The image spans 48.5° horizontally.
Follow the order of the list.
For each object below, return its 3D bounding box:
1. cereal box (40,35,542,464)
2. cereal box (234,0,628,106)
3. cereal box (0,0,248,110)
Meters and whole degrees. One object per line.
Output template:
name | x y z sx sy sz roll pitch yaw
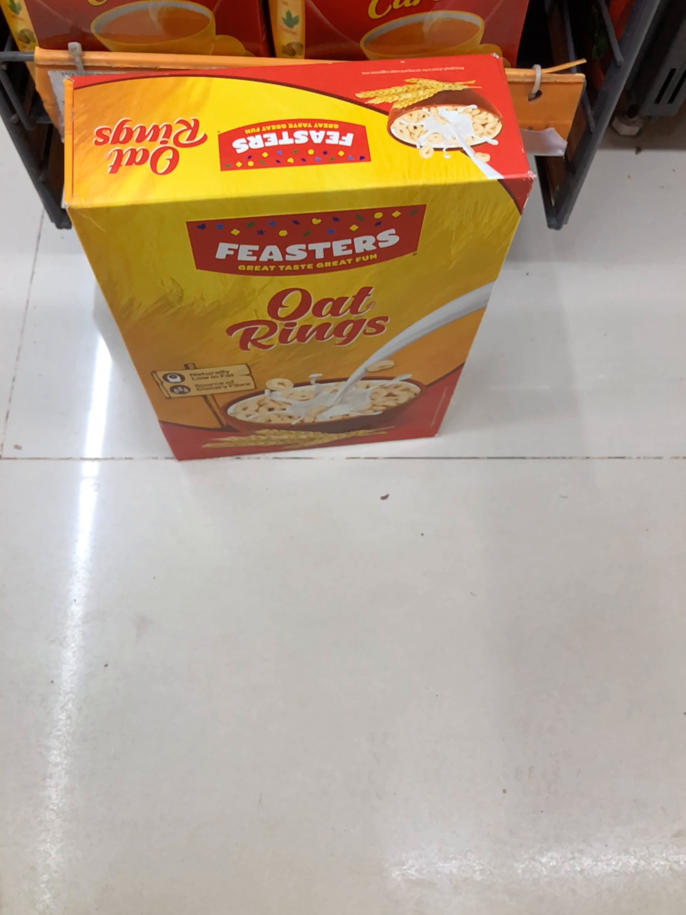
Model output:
cereal box | -0.024 -0.080 0.372 0.170 0.219 0.070 -5 67 -6
cereal box | 0.023 -0.243 0.323 0.120 0.149 0.080 -6 67 -6
cereal box | -0.108 -0.253 0.339 0.120 0.169 0.080 -2 67 -4
